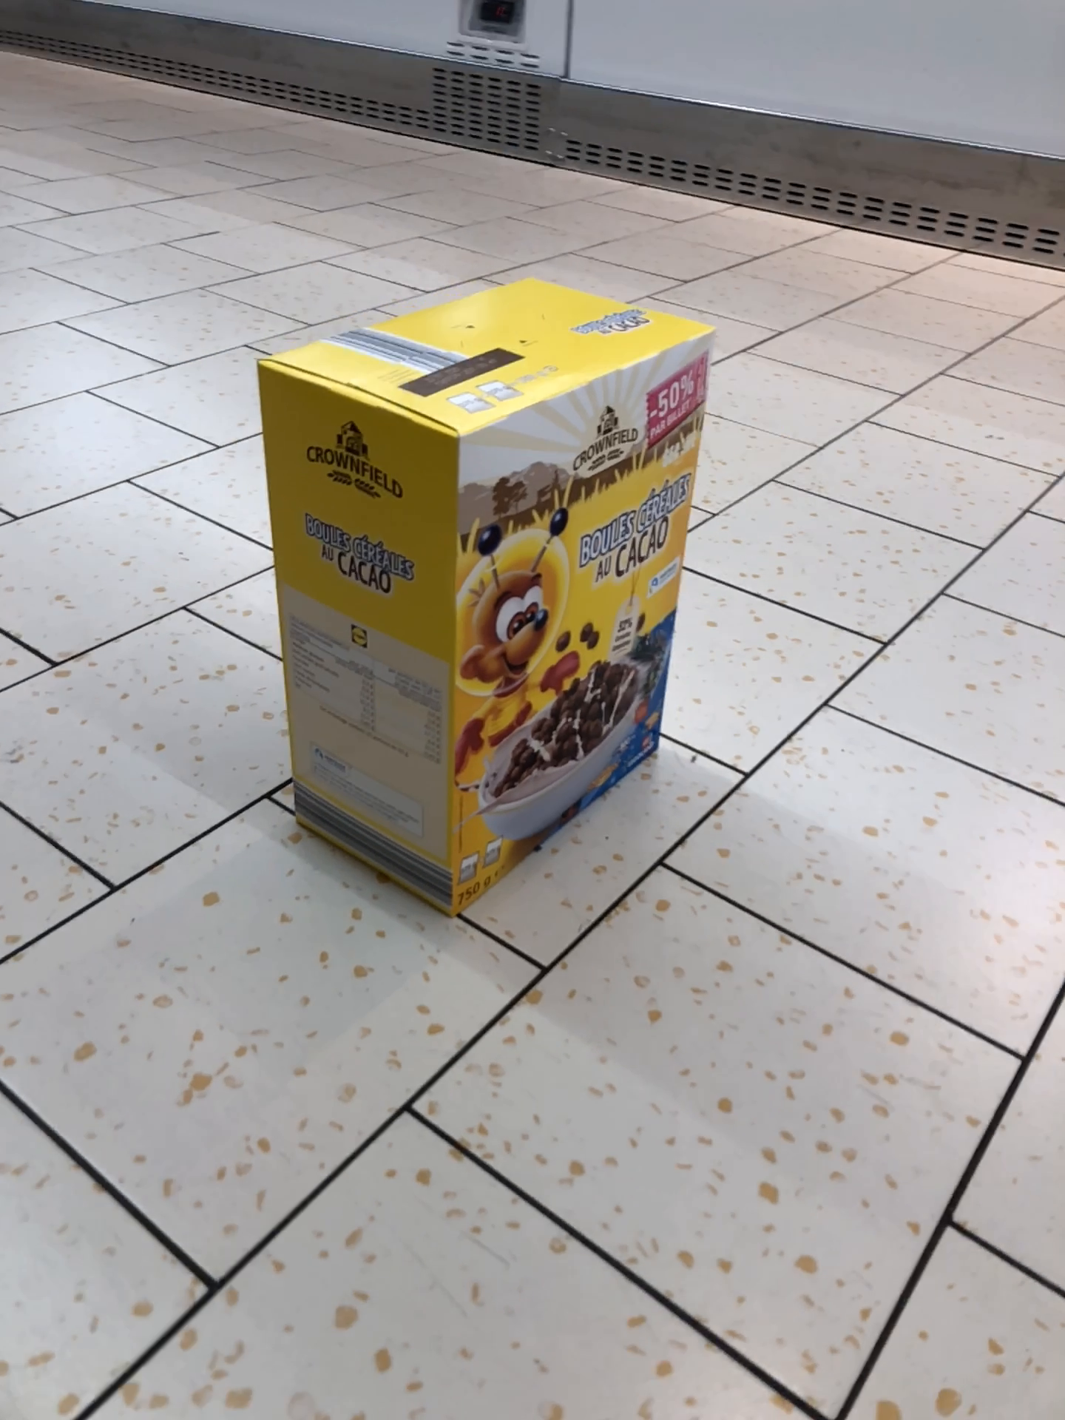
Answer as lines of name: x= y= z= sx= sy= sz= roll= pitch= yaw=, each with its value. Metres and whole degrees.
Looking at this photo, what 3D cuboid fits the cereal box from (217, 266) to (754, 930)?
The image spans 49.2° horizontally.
cereal box: x=-0.018 y=-0.066 z=0.575 sx=0.130 sy=0.238 sz=0.211 roll=26 pitch=40 yaw=29
